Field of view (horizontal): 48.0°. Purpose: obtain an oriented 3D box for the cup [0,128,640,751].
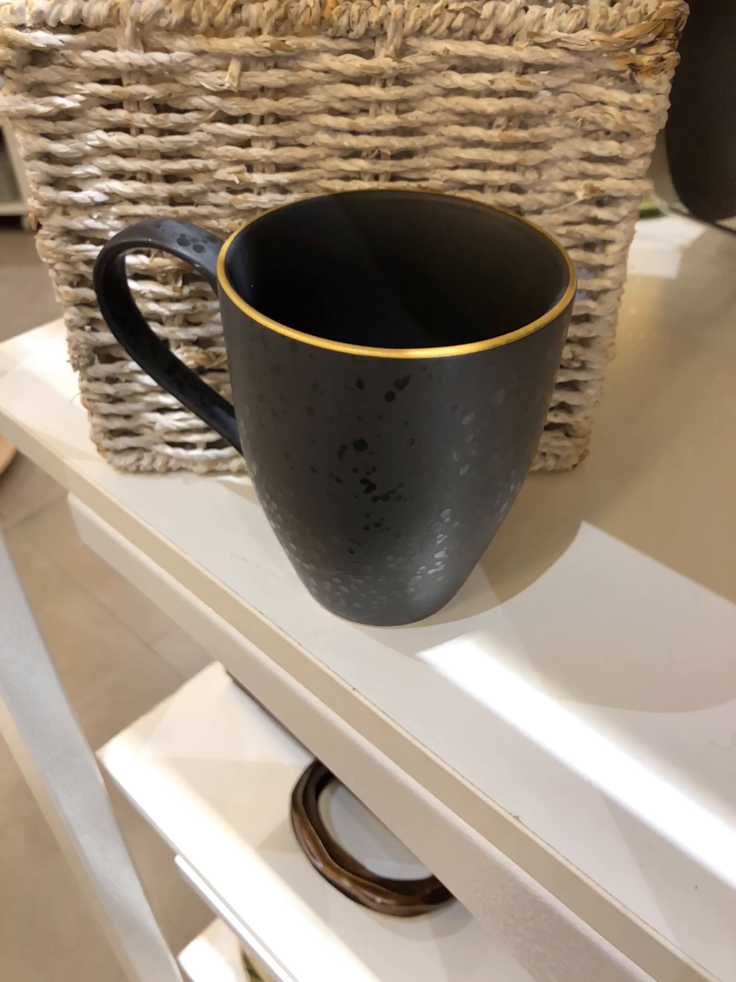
[{"bbox_3d":[-0.012,-0.021,0.214,0.120,0.099,0.080,24,47,27],"label":"cup"}]
